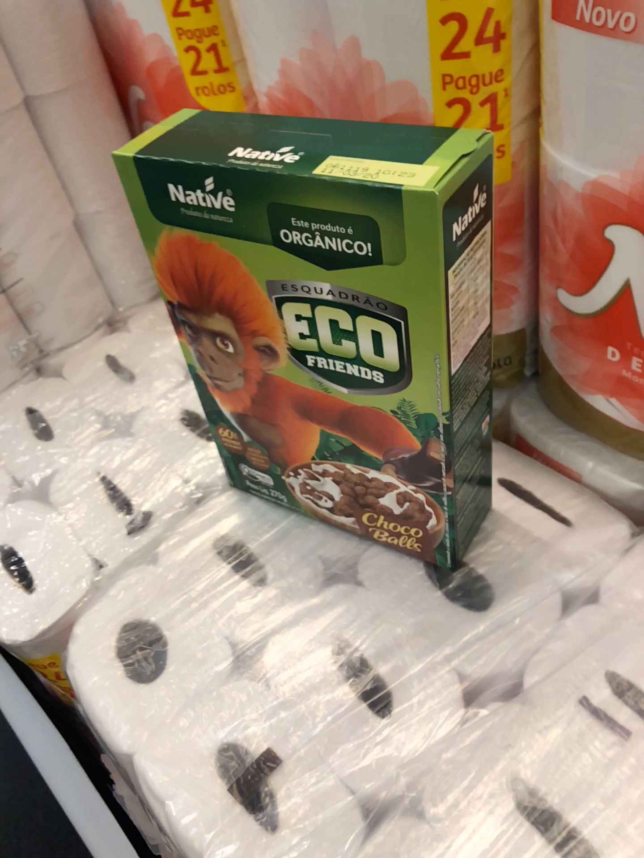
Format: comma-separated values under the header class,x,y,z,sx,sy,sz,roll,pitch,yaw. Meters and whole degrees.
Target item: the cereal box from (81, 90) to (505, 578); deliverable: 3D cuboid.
class,x,y,z,sx,sy,sz,roll,pitch,yaw
cereal box,-0.004,-0.045,0.380,0.181,0.228,0.060,19,50,29
